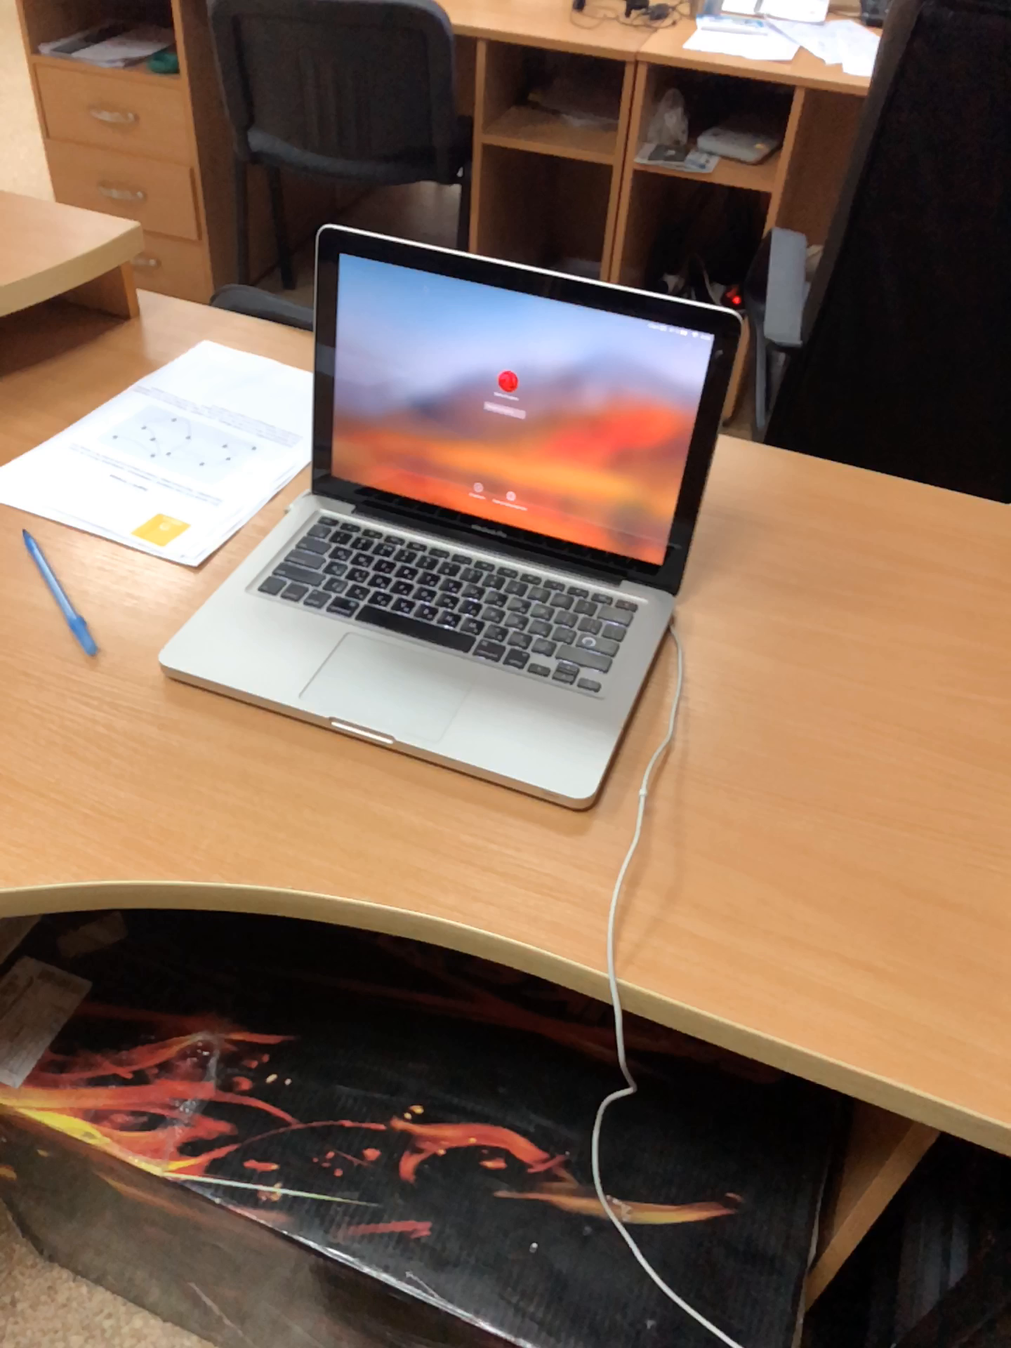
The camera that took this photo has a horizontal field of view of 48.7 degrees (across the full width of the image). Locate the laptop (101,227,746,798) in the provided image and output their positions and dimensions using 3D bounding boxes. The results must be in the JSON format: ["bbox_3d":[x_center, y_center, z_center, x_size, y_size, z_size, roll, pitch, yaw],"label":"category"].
[{"bbox_3d":[-0.040,-0.124,0.760,0.315,0.207,0.267,16,44,12],"label":"laptop"}]
